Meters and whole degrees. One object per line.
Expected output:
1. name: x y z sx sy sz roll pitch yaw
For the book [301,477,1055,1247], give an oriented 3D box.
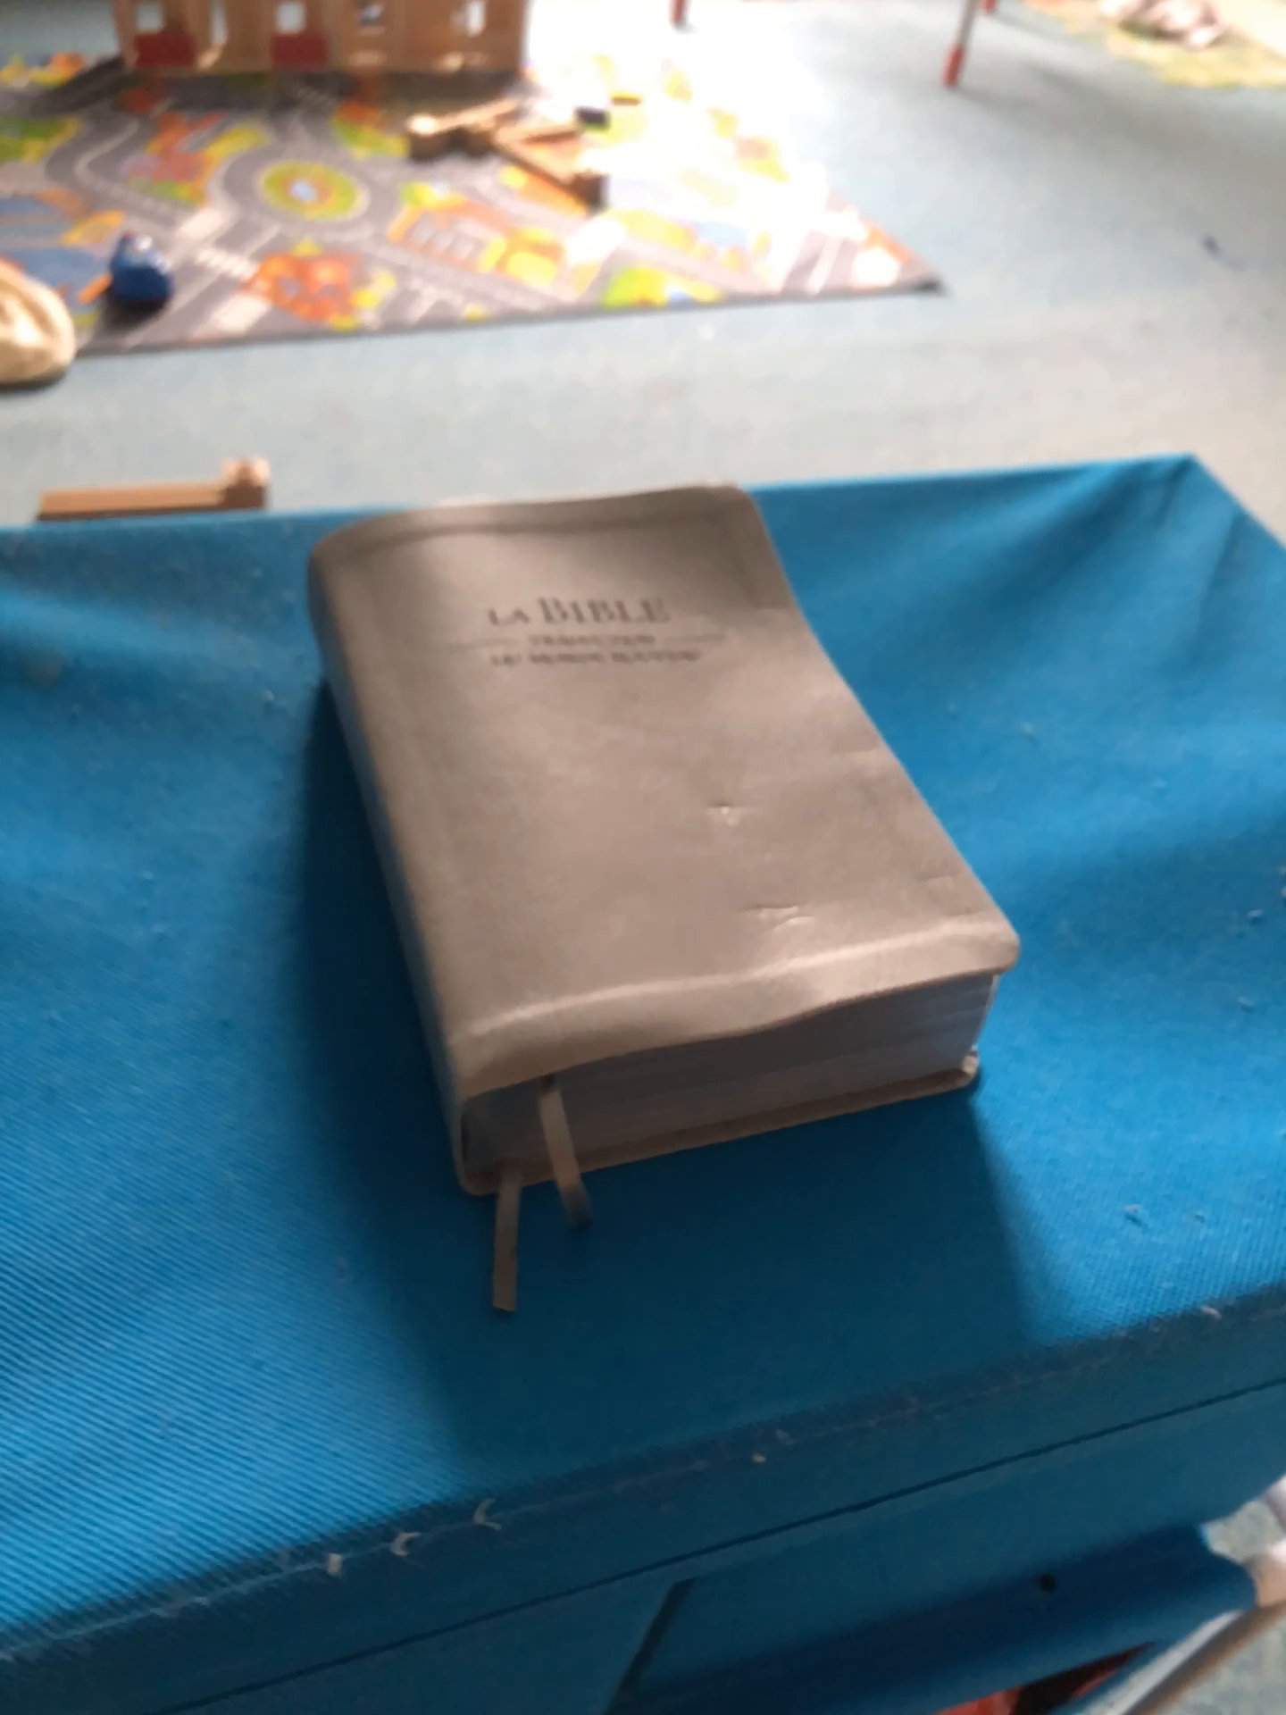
1. book: -0.005 -0.013 0.347 0.121 0.051 0.181 -10 50 -16
